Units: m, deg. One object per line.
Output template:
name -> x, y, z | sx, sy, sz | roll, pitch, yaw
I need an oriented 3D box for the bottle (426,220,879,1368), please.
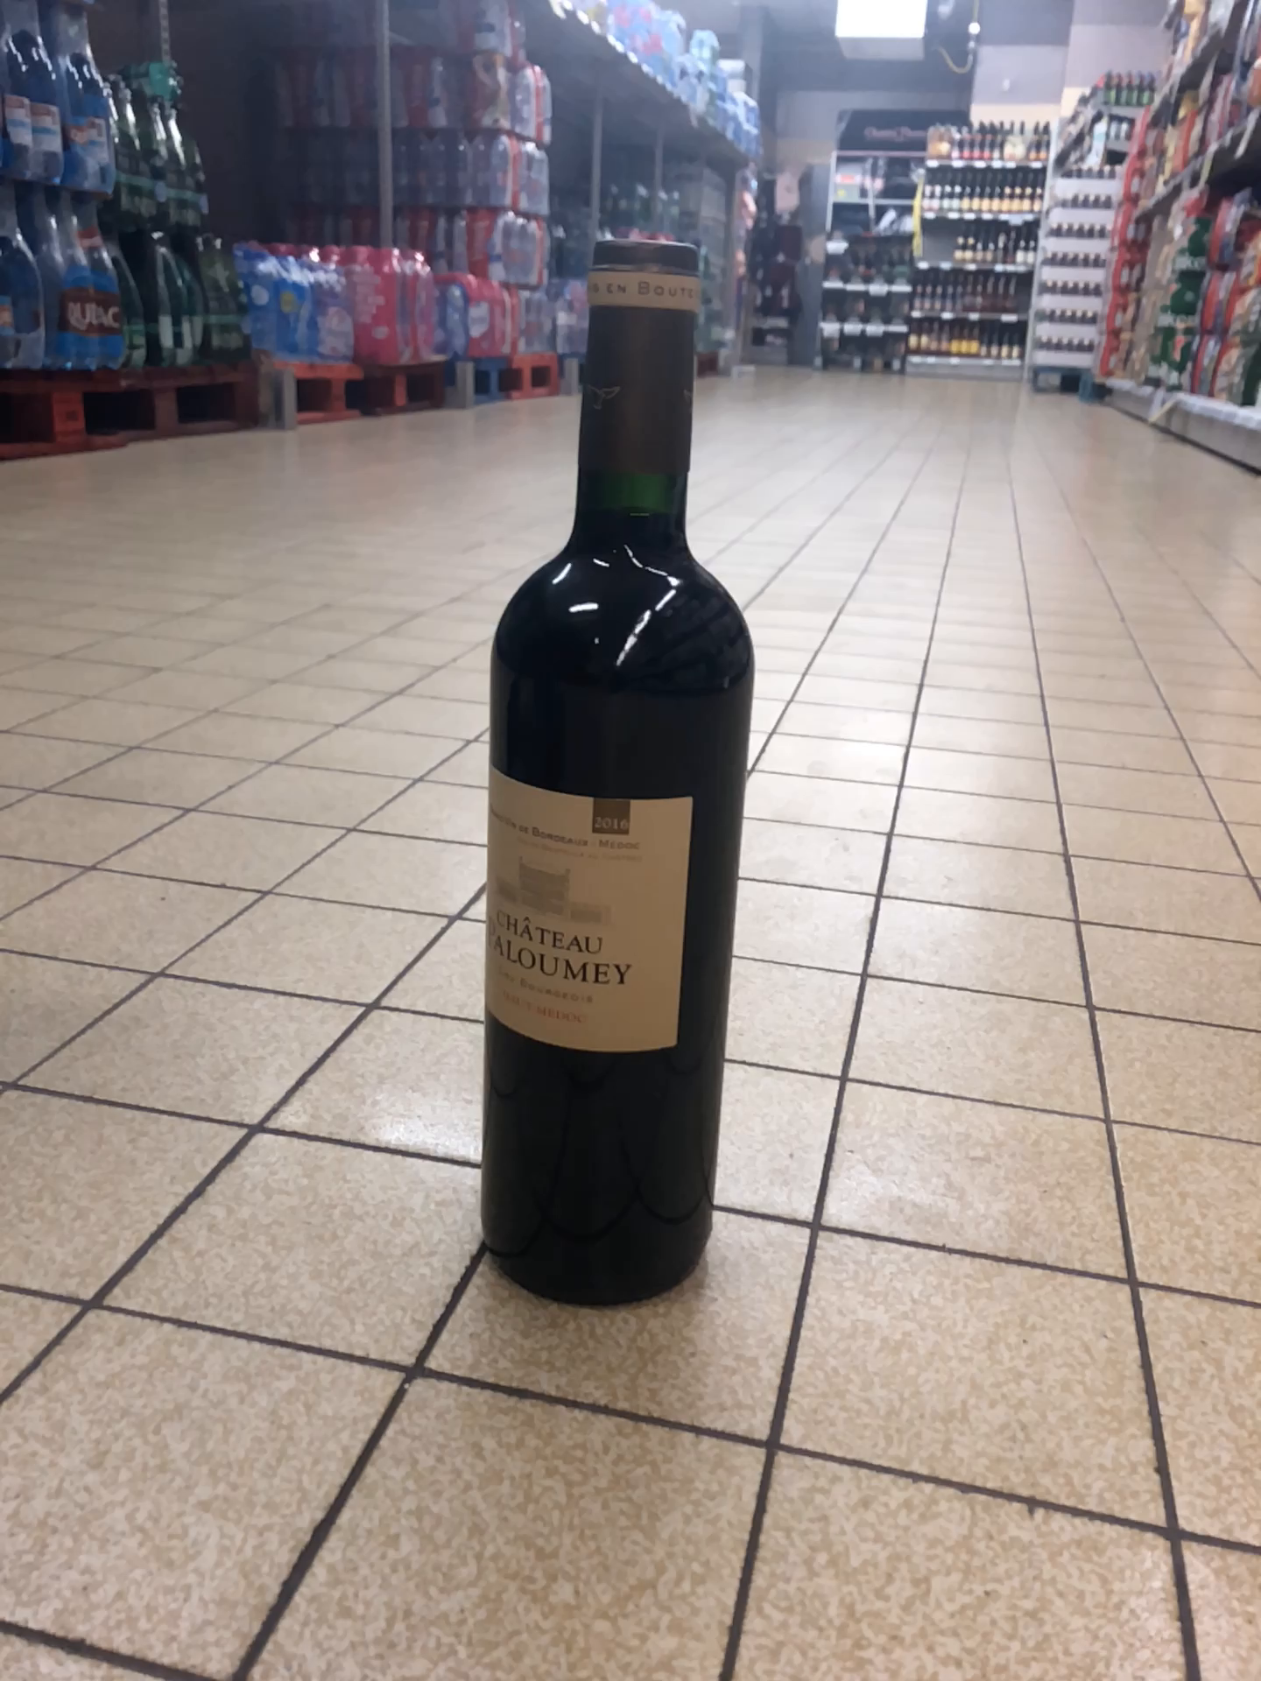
bottle -> 0.002, -0.012, 0.388 | 0.080, 0.289, 0.090 | 12, 21, 25
